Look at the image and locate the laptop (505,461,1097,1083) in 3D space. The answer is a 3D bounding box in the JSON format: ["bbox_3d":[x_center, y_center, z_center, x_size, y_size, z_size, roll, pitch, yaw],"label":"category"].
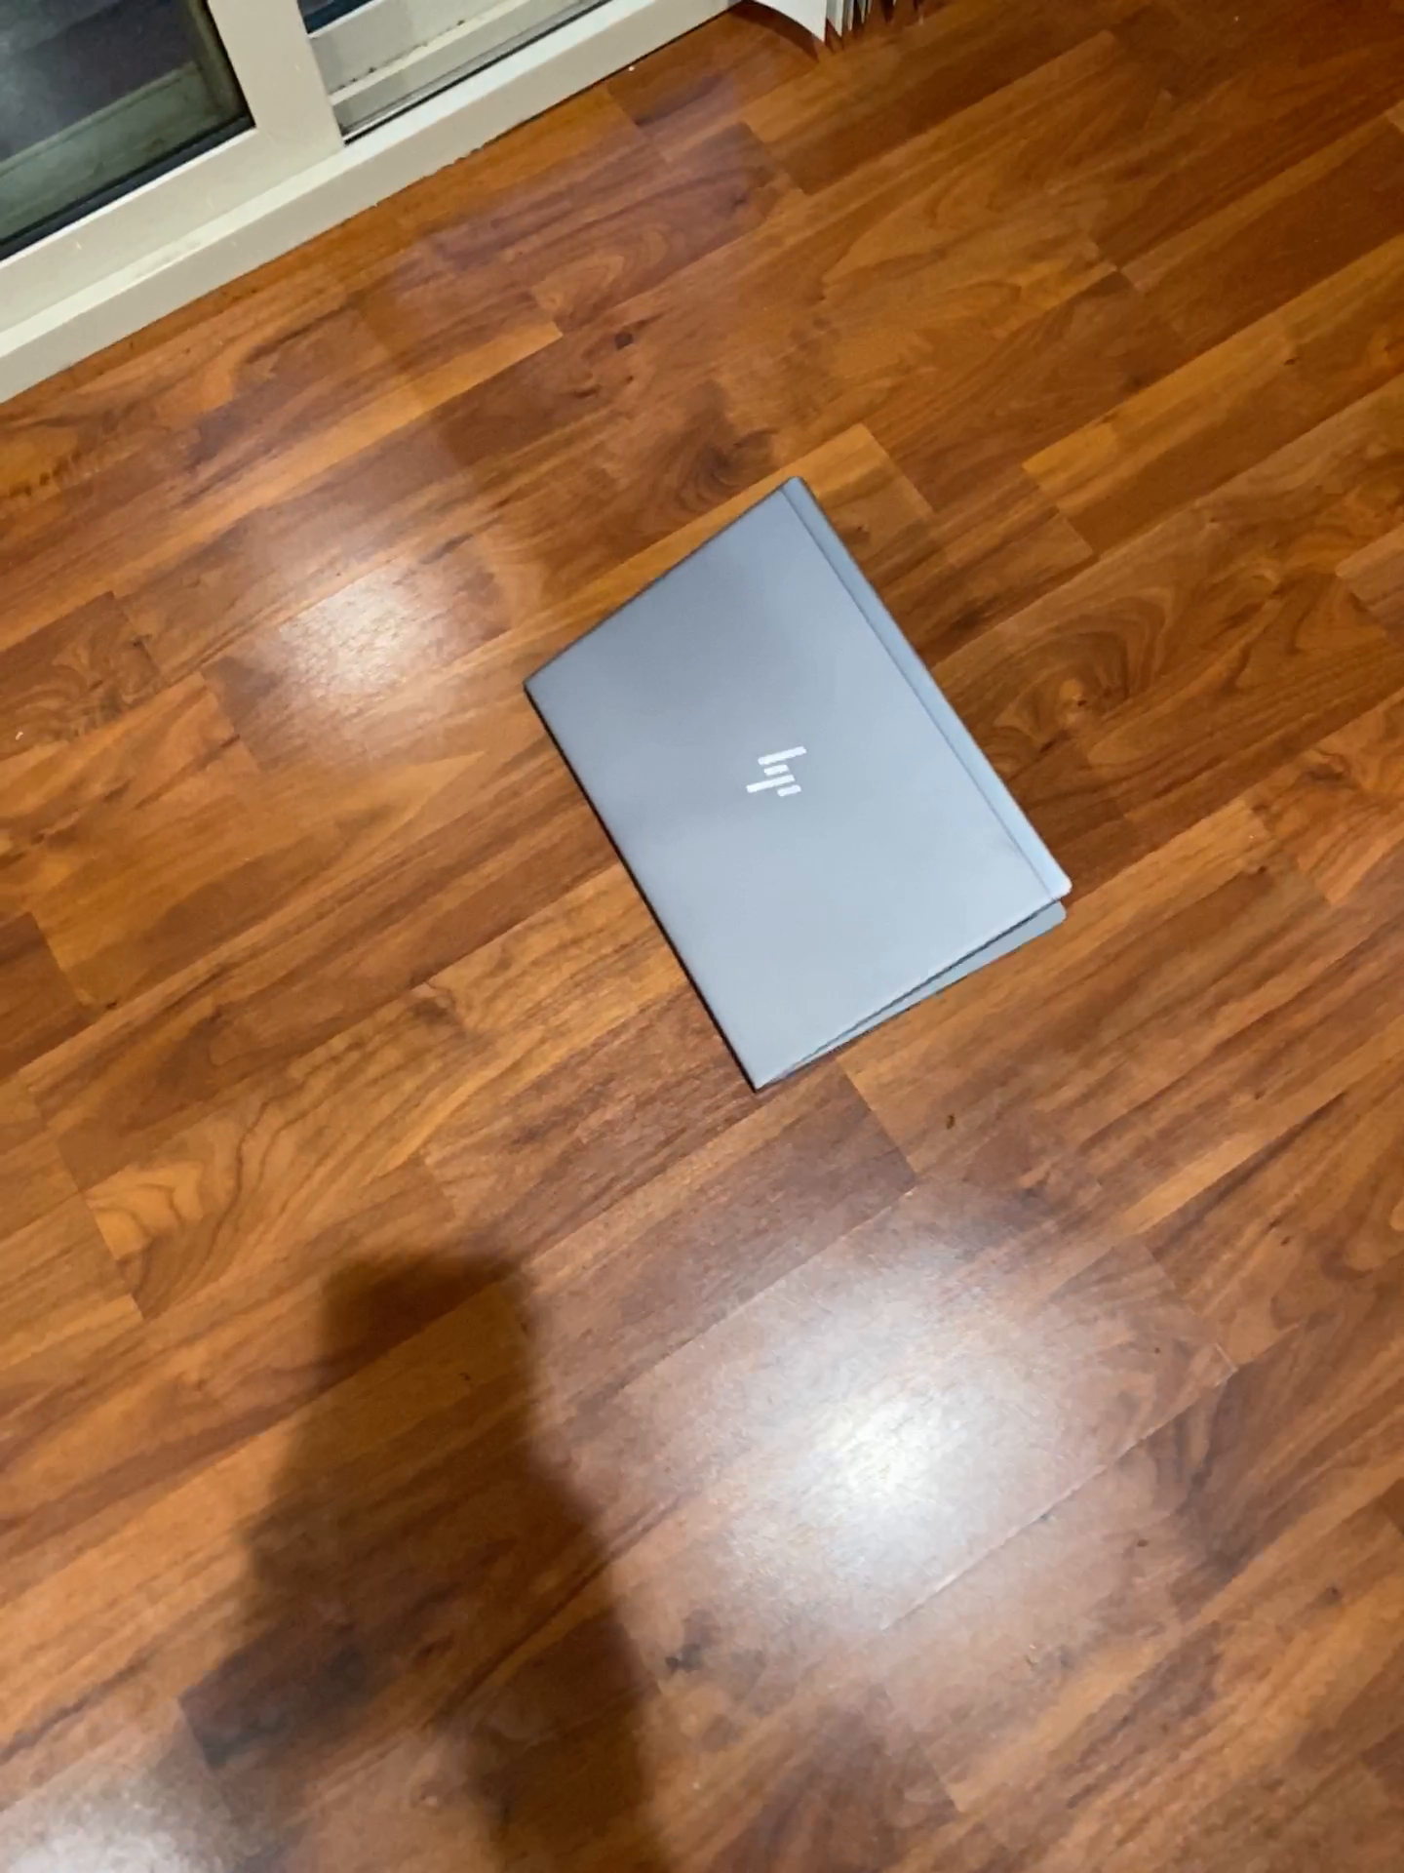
[{"bbox_3d":[0.057,-0.109,0.908,0.230,0.078,0.325,-28,75,-8],"label":"laptop"}]
